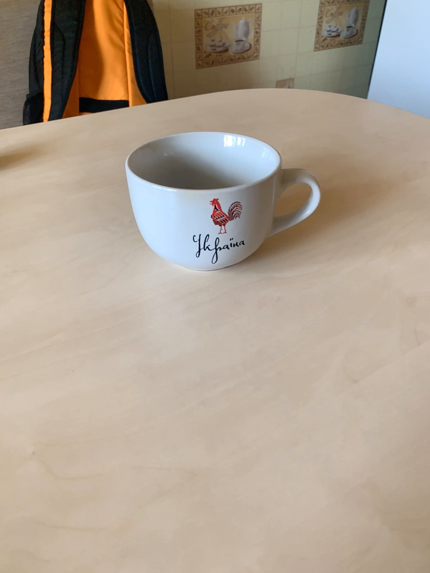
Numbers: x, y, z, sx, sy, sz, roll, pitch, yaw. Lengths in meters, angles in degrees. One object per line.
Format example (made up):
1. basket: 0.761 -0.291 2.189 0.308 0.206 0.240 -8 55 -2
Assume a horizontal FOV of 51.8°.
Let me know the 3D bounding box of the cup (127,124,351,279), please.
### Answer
1. cup: 0.008 -0.065 0.311 0.130 0.060 0.101 -5 38 -7
